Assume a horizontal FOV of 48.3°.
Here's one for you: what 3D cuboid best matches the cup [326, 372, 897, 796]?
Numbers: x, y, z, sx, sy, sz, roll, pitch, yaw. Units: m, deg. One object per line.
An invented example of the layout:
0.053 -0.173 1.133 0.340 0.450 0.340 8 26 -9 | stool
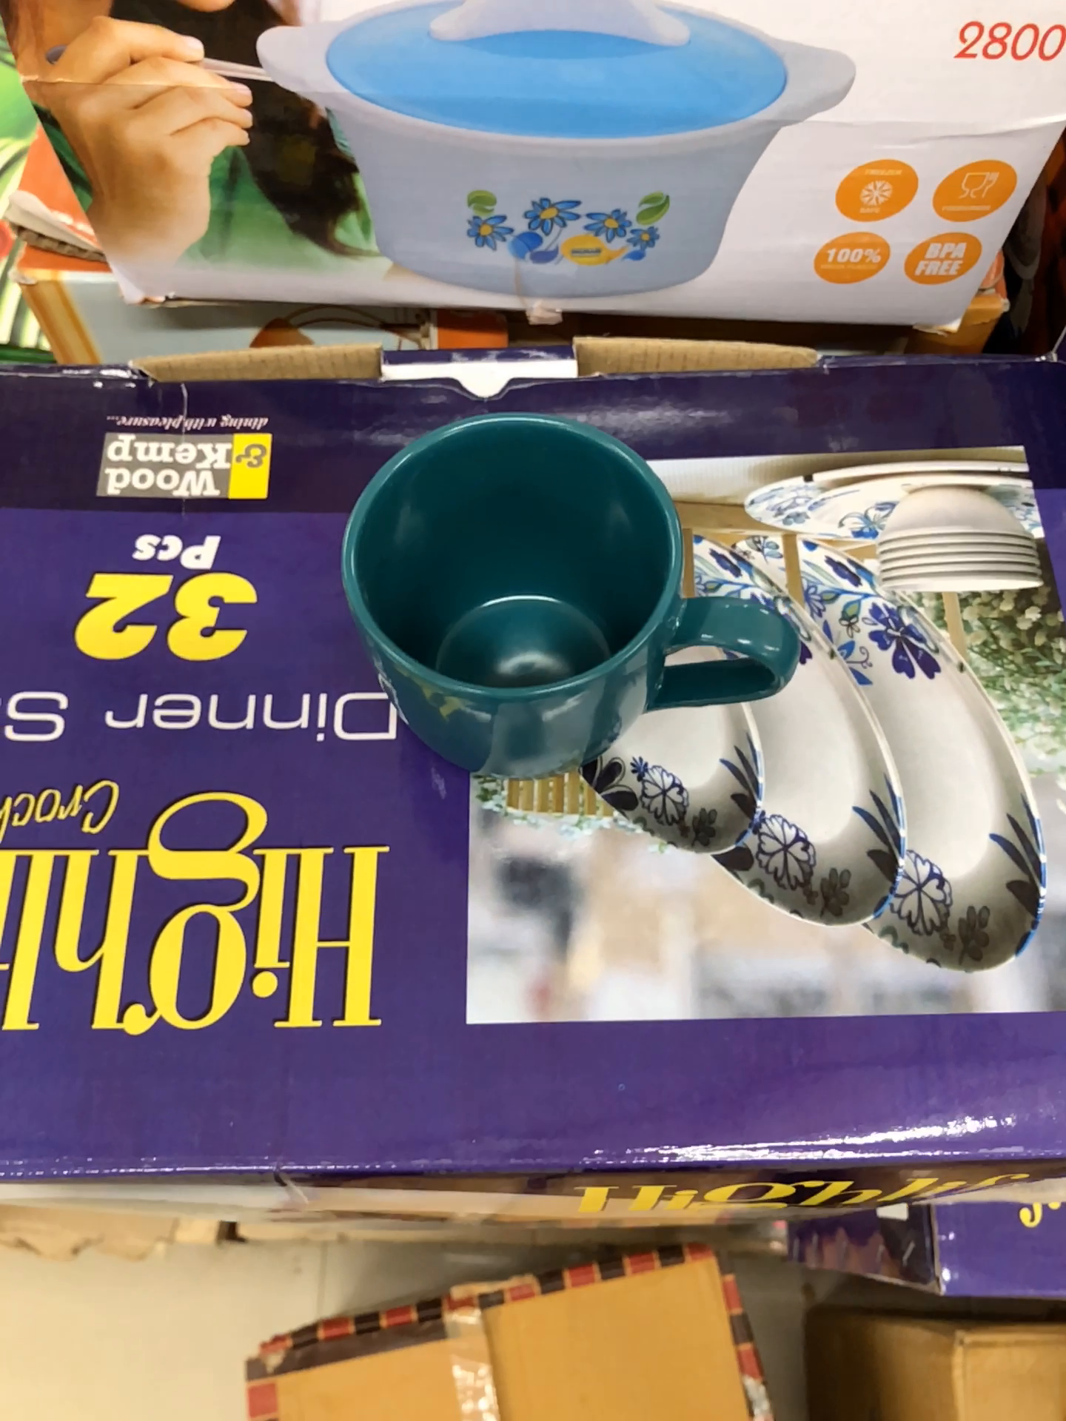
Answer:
0.011 -0.022 0.223 0.090 0.050 0.060 -1 65 -2 | cup
